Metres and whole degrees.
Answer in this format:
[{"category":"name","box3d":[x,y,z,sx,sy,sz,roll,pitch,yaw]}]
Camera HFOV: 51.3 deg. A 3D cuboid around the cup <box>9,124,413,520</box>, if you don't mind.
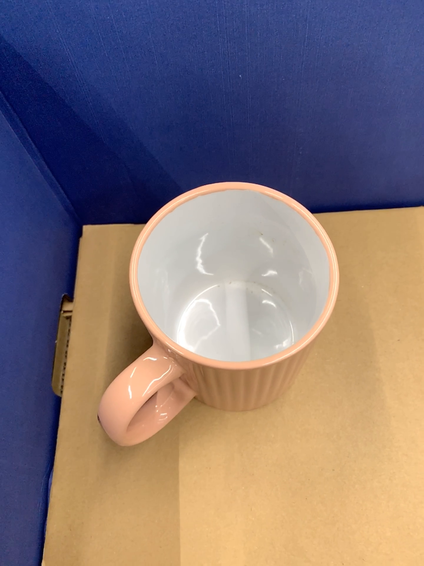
[{"category":"cup","box3d":[0.008,0.025,0.249,0.102,0.128,0.155,36,68,25]}]
